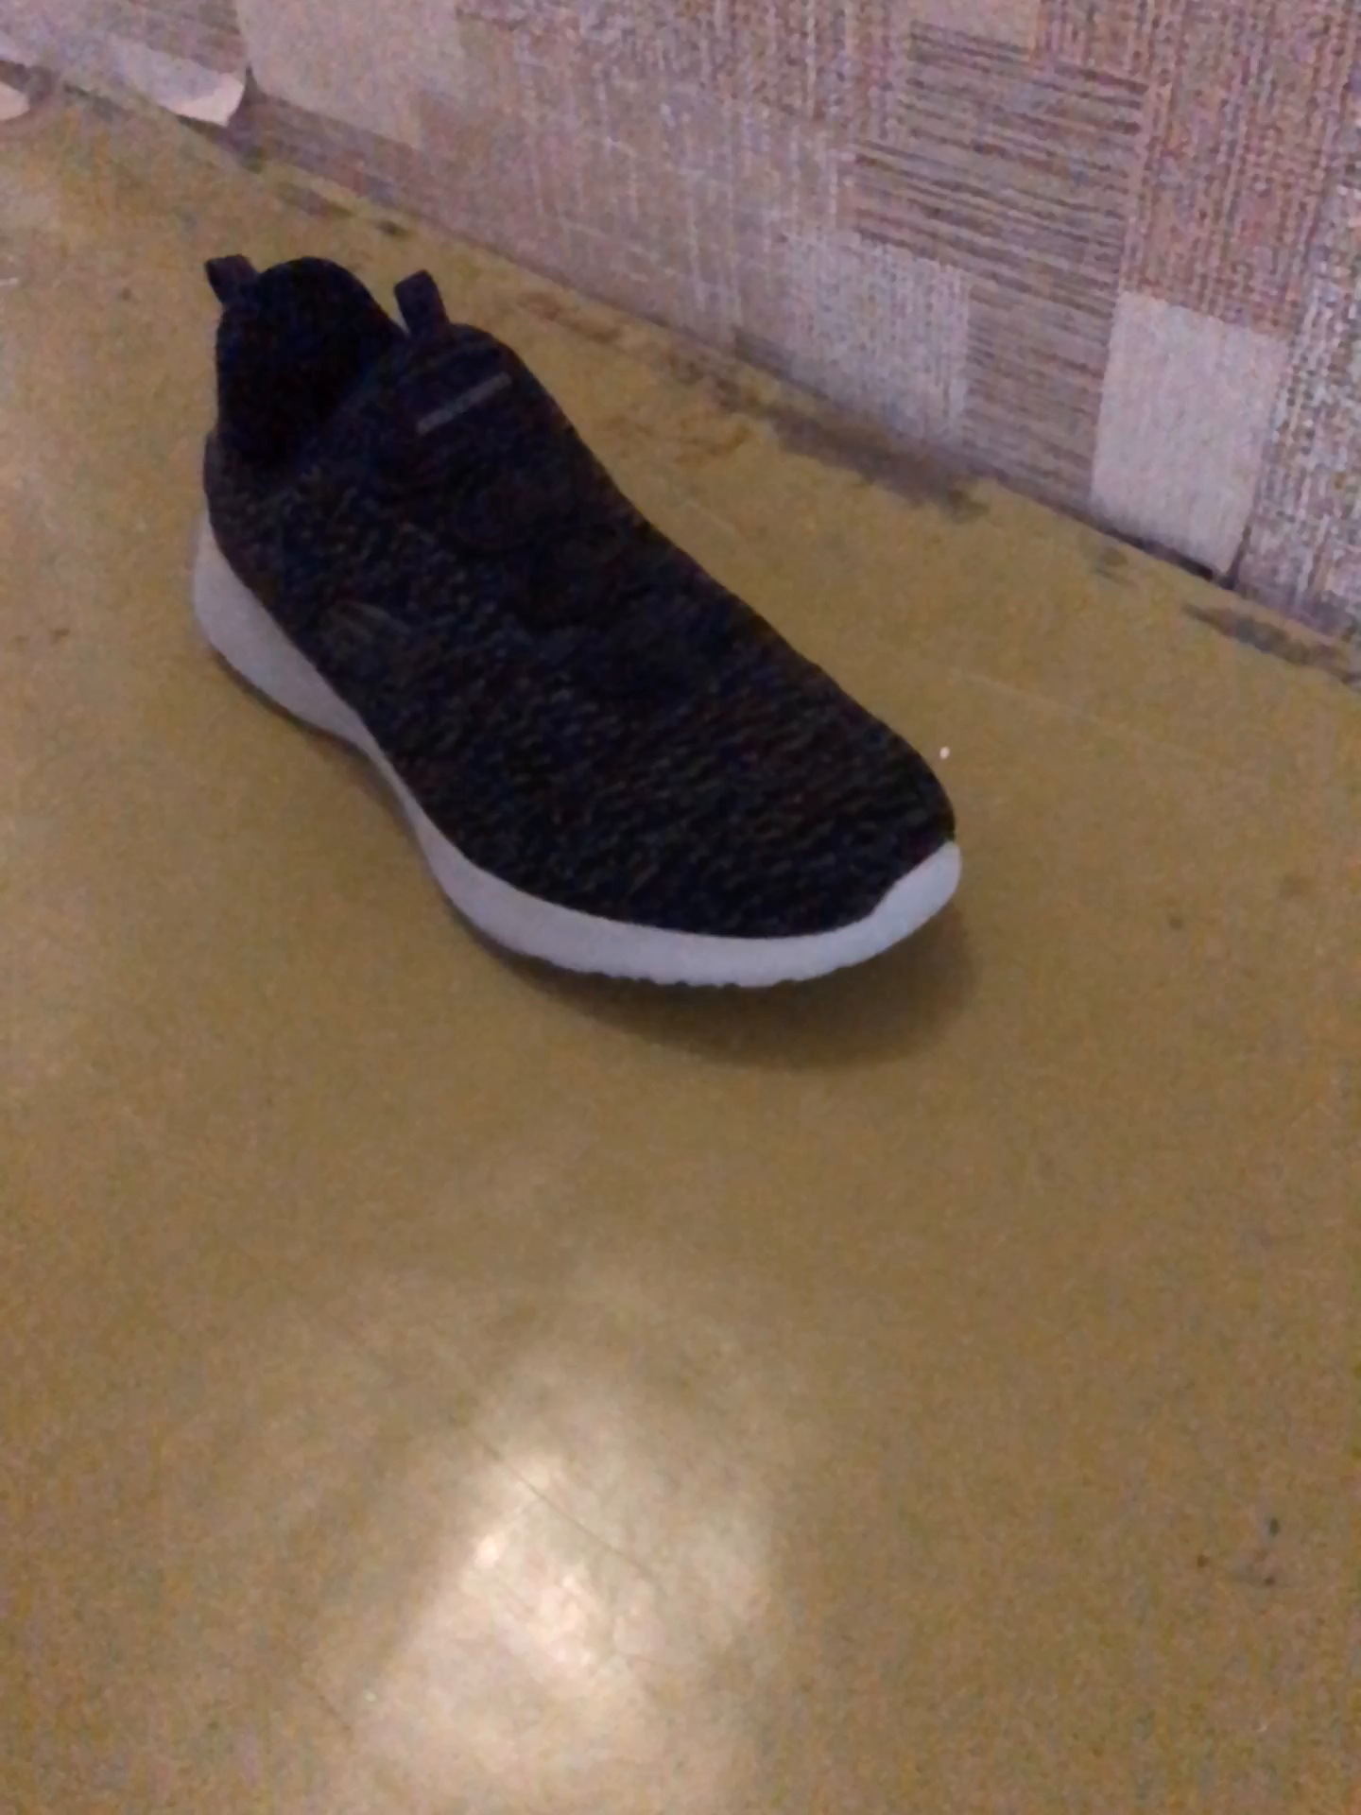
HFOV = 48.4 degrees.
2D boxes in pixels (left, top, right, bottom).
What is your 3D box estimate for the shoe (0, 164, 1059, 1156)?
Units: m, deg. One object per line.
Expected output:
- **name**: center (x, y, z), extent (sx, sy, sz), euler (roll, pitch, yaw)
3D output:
- **shoe**: center (-0.064, -0.095, 0.456), extent (0.130, 0.120, 0.321), euler (-36, 56, -25)
